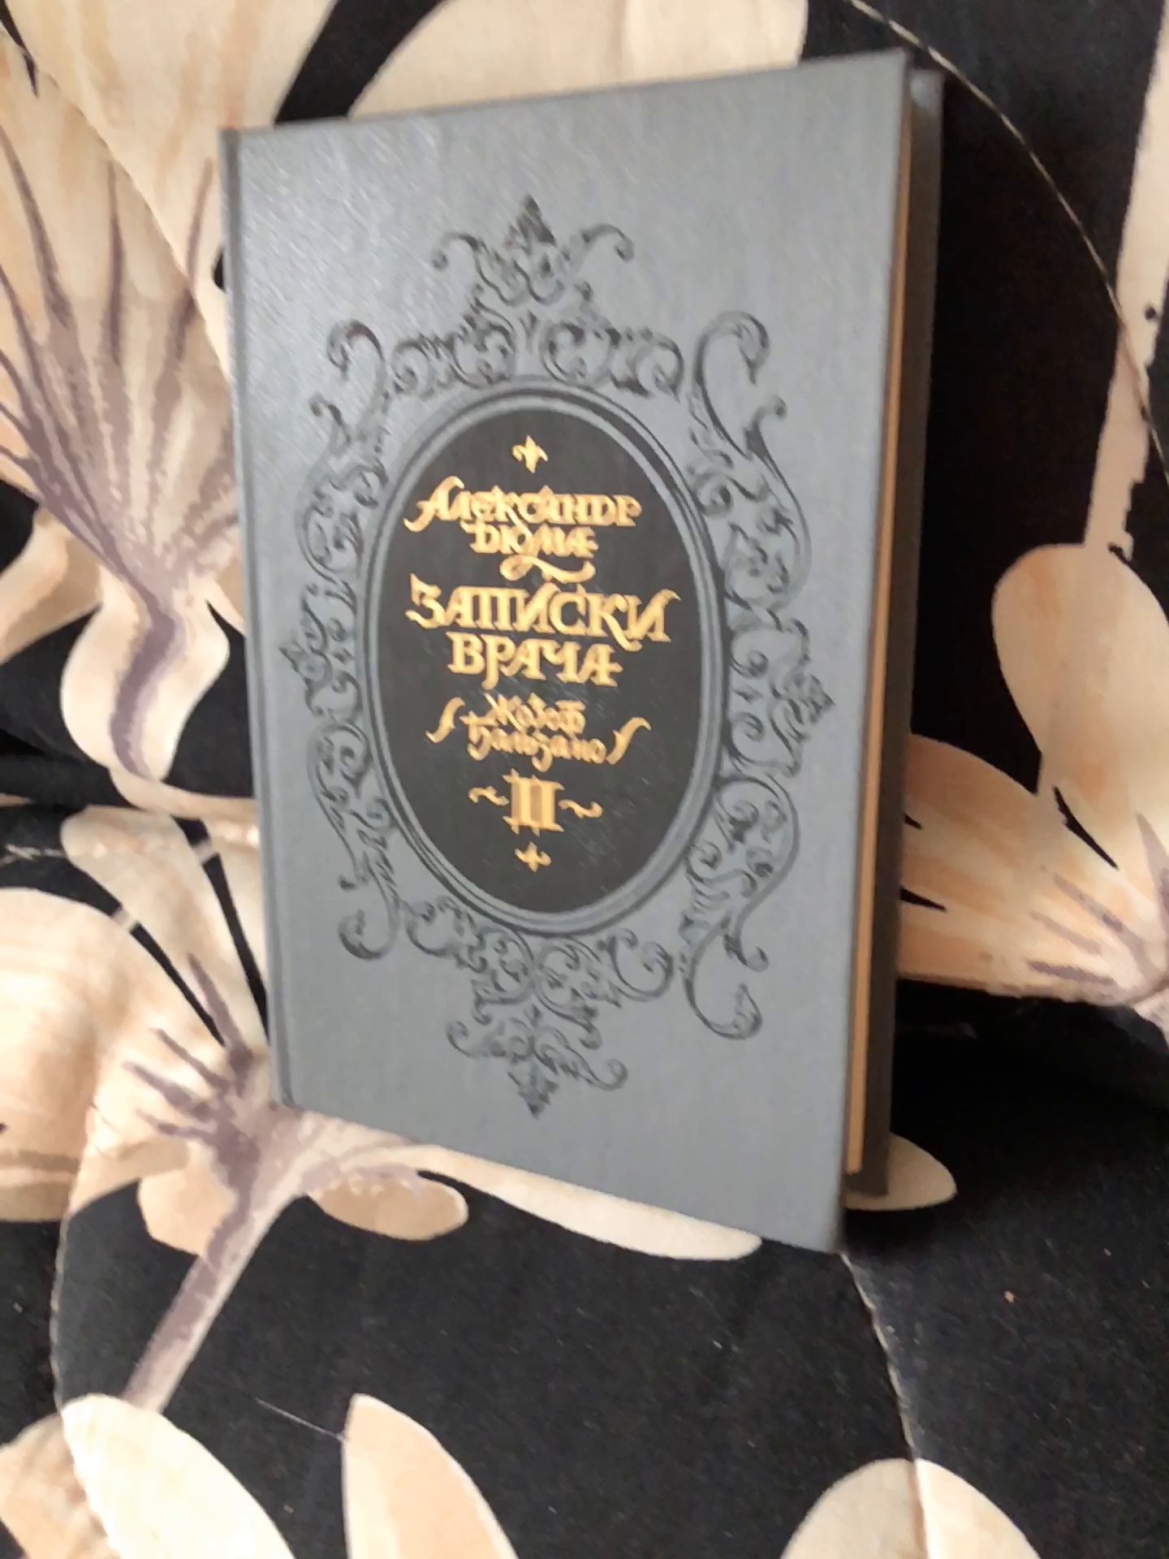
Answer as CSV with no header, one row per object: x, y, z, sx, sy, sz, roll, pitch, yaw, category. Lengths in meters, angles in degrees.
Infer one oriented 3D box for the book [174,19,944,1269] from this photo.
-0.010,-0.022,0.258,0.140,0.030,0.206,7,106,26,book
